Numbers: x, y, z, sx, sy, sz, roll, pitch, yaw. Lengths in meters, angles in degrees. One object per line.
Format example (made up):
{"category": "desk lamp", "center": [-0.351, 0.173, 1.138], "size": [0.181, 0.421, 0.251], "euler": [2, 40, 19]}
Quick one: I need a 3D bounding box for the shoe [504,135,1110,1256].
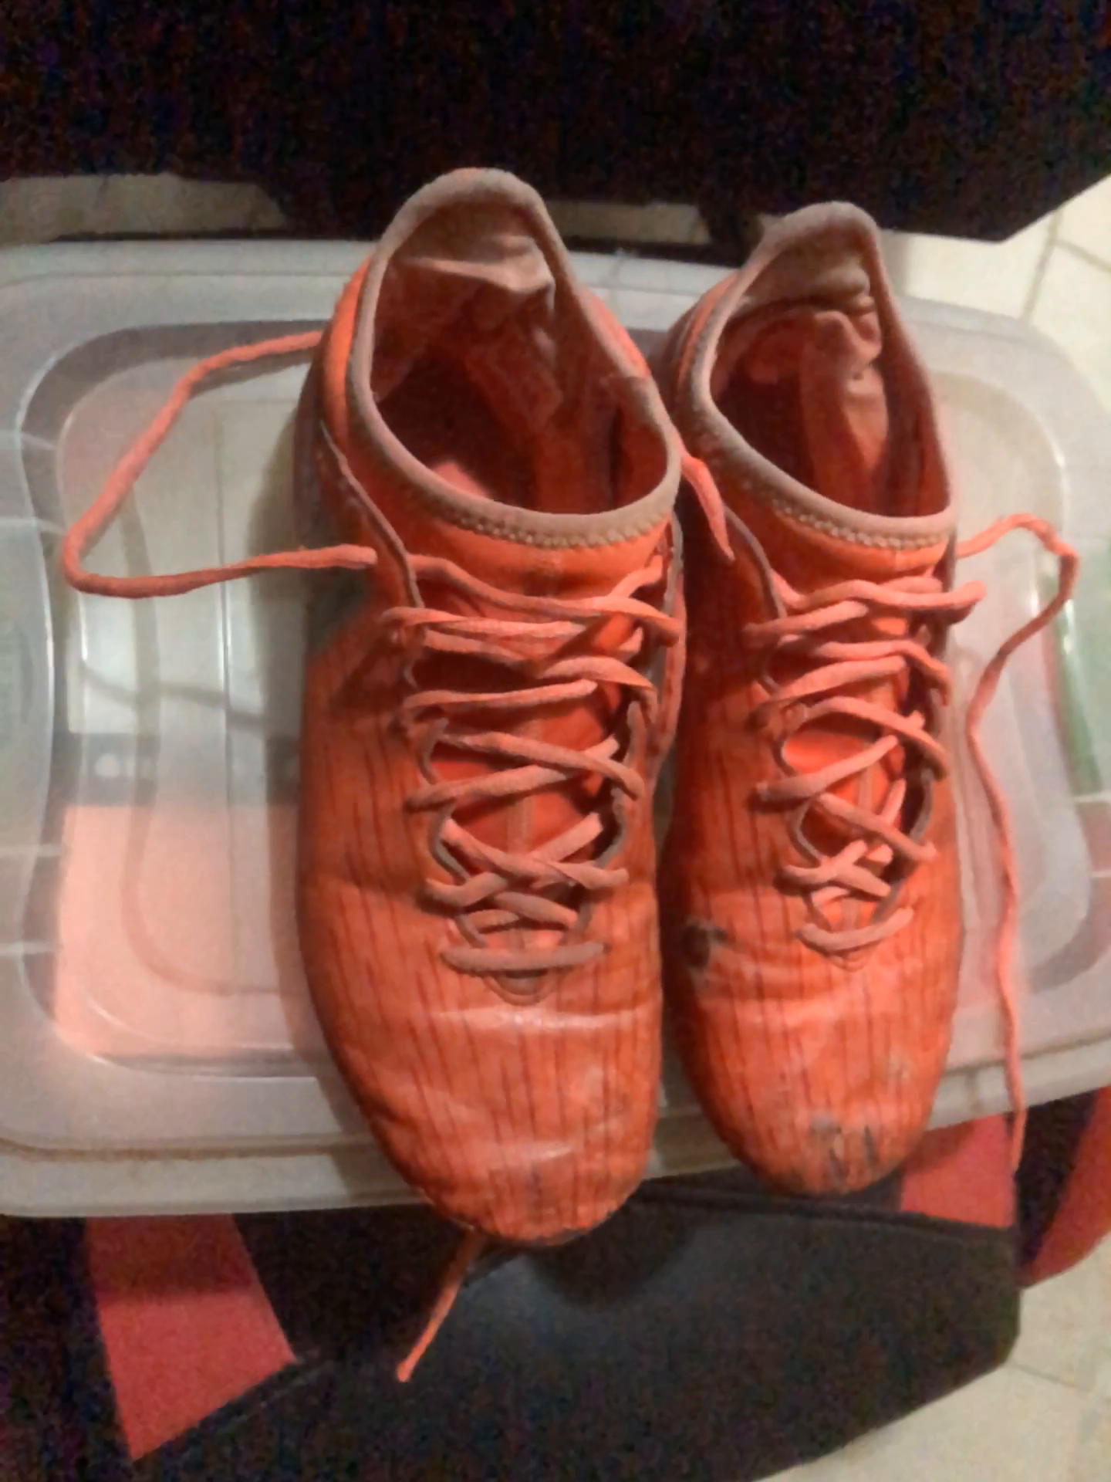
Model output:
{"category": "shoe", "center": [0.061, -0.010, 0.332], "size": [0.090, 0.130, 0.240], "euler": [-6, 81, -17]}

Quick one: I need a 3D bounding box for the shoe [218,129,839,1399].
{"category": "shoe", "center": [-0.024, 0.002, 0.304], "size": [0.090, 0.130, 0.240], "euler": [-6, 81, -17]}
